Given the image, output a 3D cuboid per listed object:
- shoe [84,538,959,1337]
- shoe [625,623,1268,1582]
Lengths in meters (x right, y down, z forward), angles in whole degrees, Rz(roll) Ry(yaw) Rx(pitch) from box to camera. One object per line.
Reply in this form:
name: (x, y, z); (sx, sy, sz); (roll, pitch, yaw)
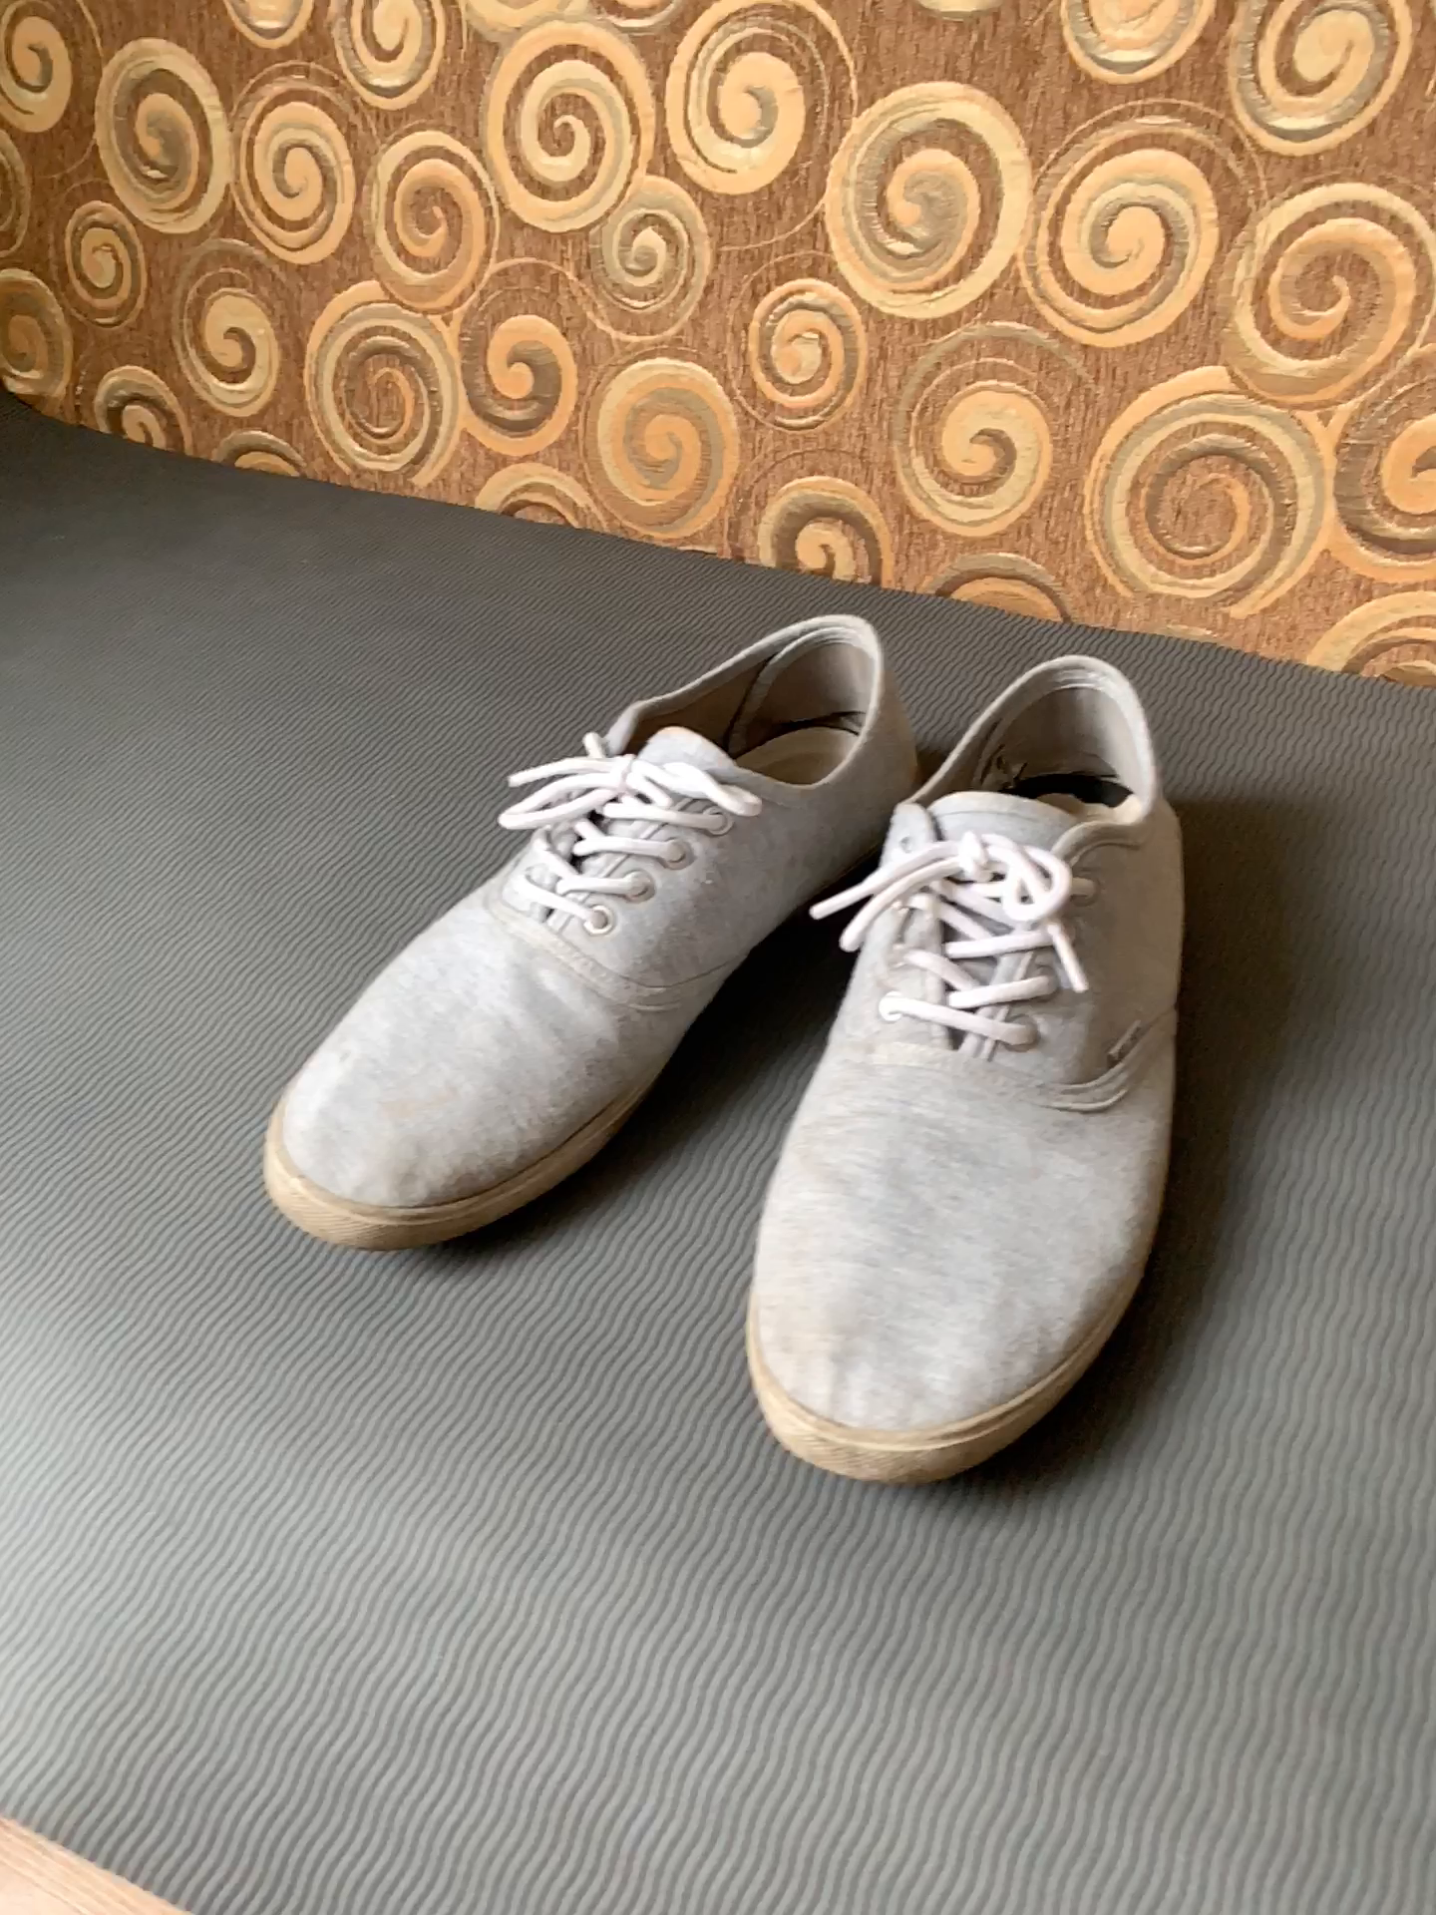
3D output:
shoe: (-0.044, -0.023, 0.466); (0.110, 0.080, 0.261); (29, 55, 29)
shoe: (0.078, 0.018, 0.416); (0.110, 0.080, 0.261); (11, 49, 17)
